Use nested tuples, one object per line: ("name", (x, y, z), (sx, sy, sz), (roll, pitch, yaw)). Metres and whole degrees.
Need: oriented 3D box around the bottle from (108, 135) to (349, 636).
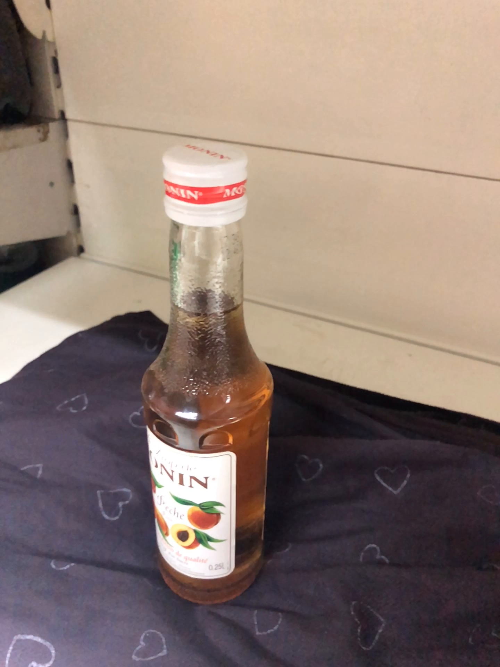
("bottle", (-0.012, 0.029, 0.247), (0.060, 0.209, 0.060), (2, 29, -1))
